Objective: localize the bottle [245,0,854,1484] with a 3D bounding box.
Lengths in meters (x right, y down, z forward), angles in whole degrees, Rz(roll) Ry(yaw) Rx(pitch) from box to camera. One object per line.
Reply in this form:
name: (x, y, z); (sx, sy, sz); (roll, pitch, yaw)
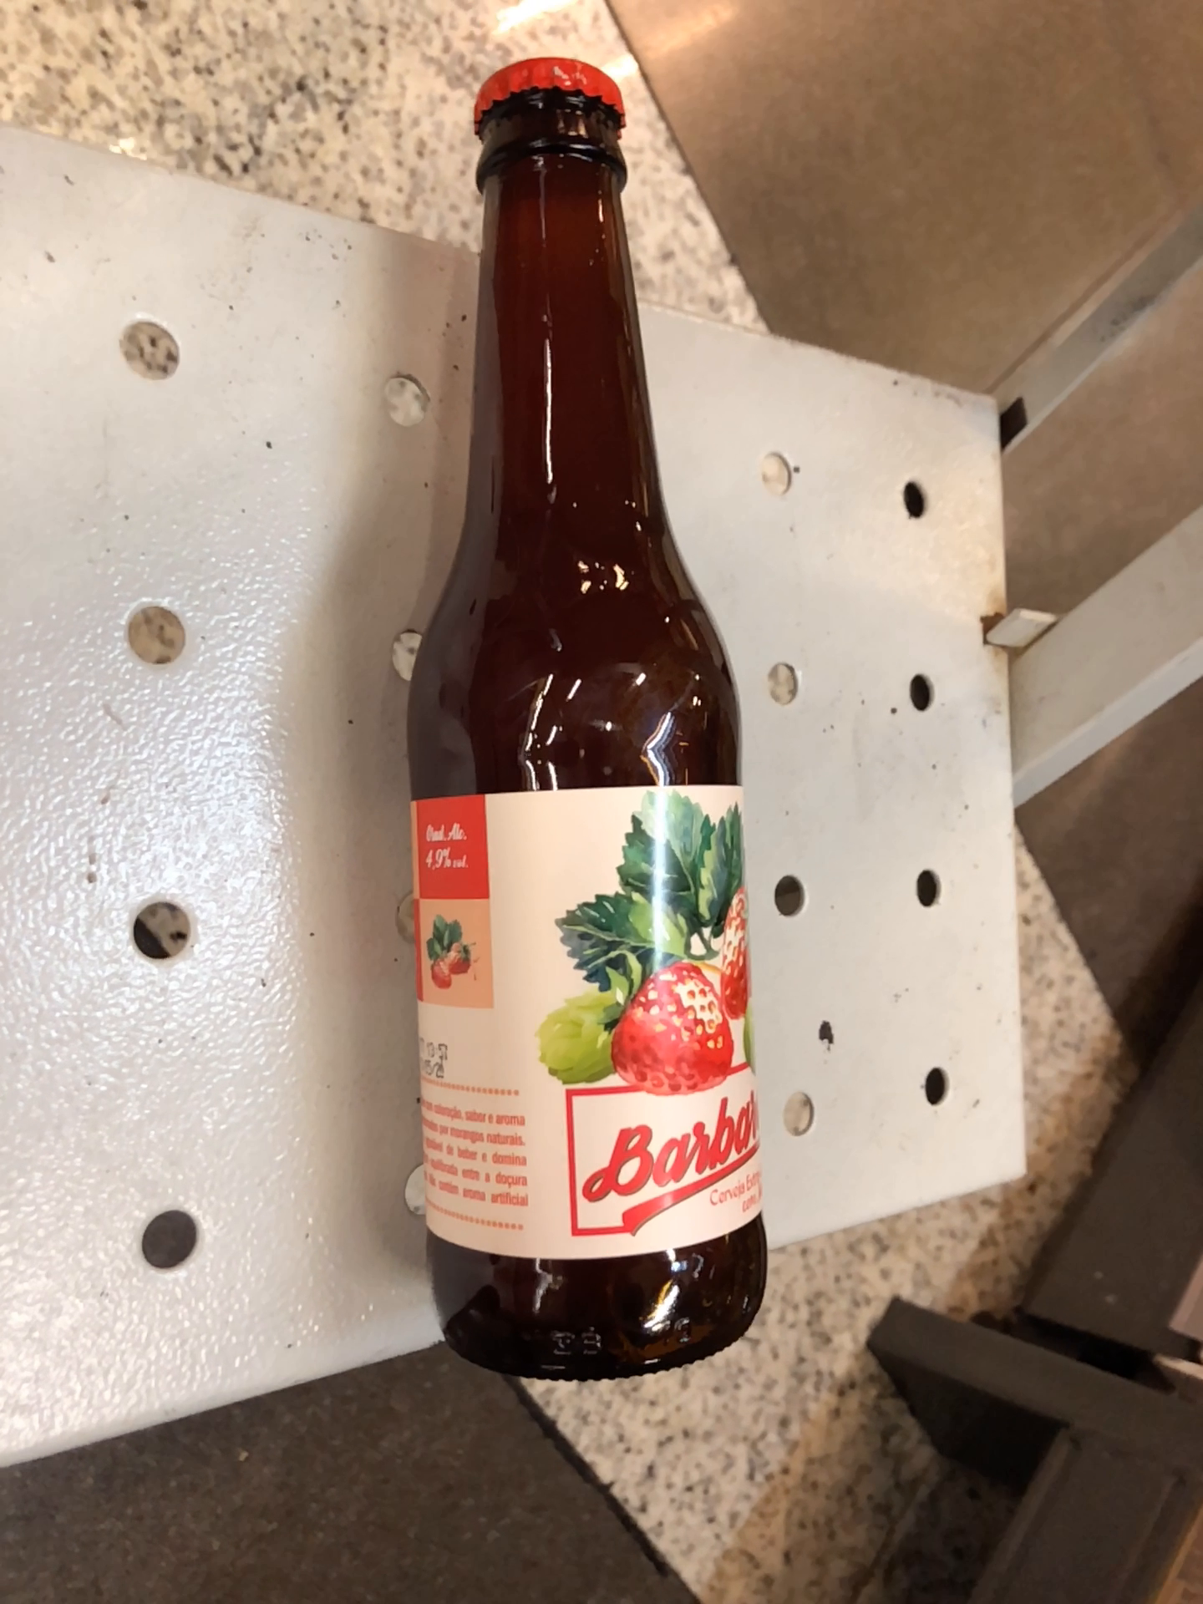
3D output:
bottle: (-0.010, -0.024, 0.234); (0.070, 0.060, 0.240); (-3, 88, -37)
